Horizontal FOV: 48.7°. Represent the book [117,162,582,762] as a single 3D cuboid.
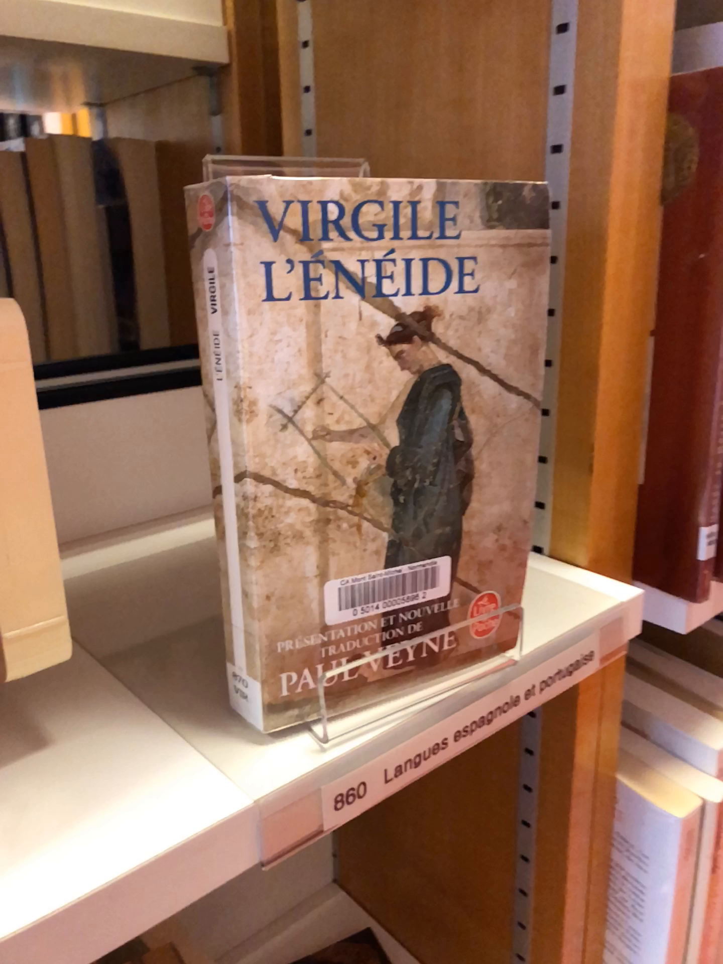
[{"bbox_3d":[-0.001,-0.016,0.281,0.132,0.168,0.073,-11,18,-30],"label":"book"}]
